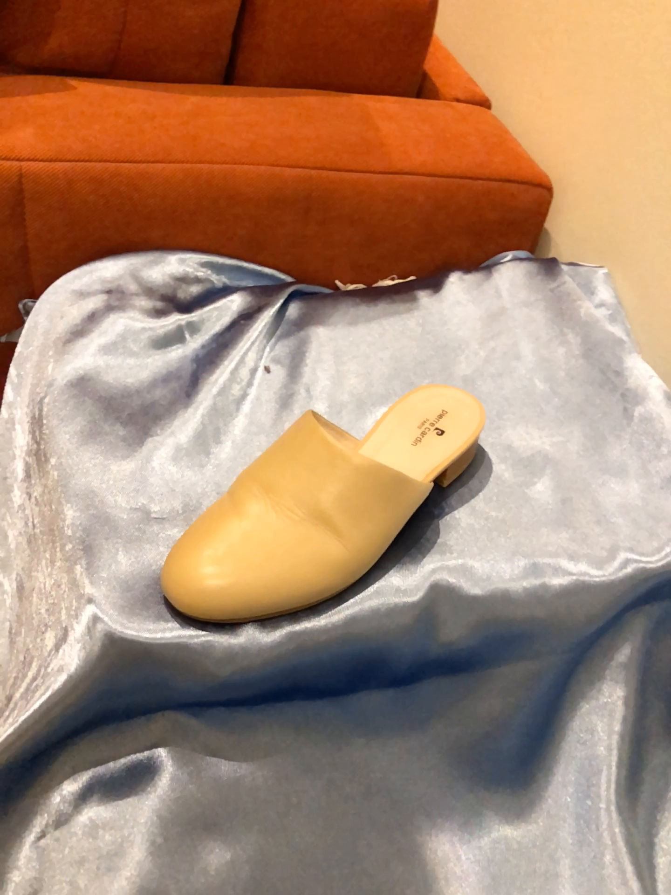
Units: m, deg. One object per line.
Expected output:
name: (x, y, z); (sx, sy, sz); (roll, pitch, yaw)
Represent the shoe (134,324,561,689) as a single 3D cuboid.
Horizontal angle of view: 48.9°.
shoe: (0.018, 0.018, 0.449); (0.261, 0.060, 0.095); (-32, 62, -34)
